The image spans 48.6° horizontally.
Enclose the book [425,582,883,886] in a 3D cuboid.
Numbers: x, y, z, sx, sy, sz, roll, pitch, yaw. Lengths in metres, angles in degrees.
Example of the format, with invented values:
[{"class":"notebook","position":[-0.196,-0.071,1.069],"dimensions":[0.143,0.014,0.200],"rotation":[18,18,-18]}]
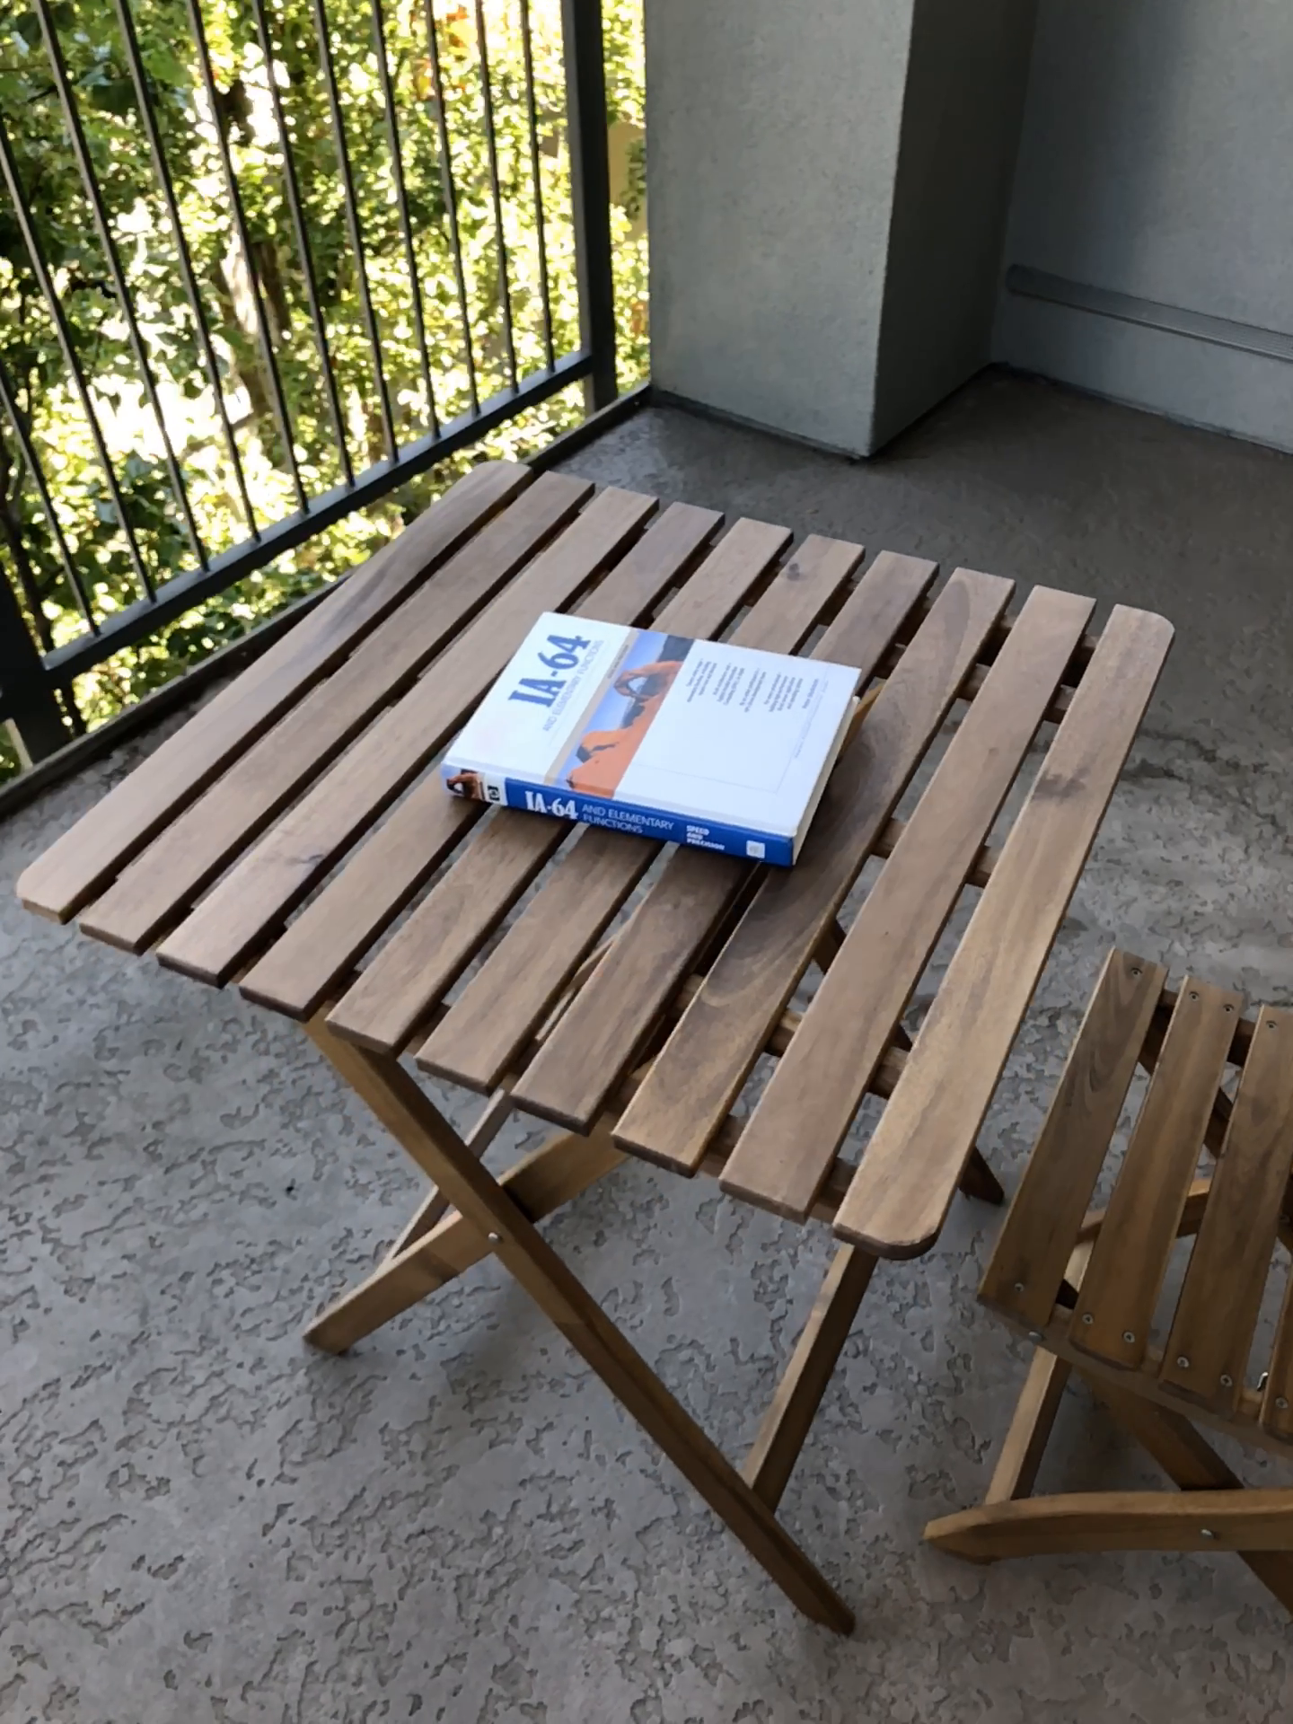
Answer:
[{"class":"book","position":[0.011,-0.095,0.962],"dimensions":[0.250,0.040,0.201],"rotation":[14,47,15]}]
